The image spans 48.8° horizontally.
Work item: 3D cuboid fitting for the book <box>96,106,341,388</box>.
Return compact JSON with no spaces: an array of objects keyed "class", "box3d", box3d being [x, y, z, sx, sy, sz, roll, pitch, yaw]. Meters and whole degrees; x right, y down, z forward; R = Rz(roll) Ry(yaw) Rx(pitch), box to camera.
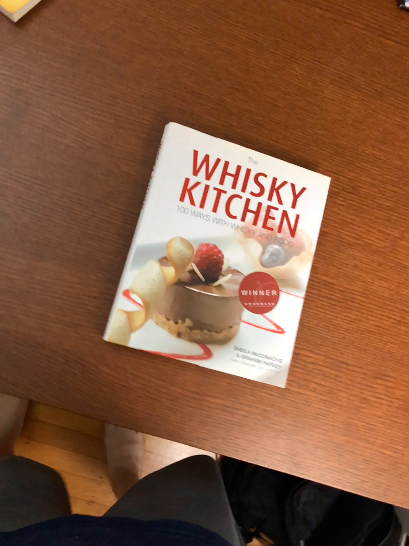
[{"class":"book","box3d":[0.023,-0.030,0.526,0.220,0.040,0.270,16,79,-8]}]
